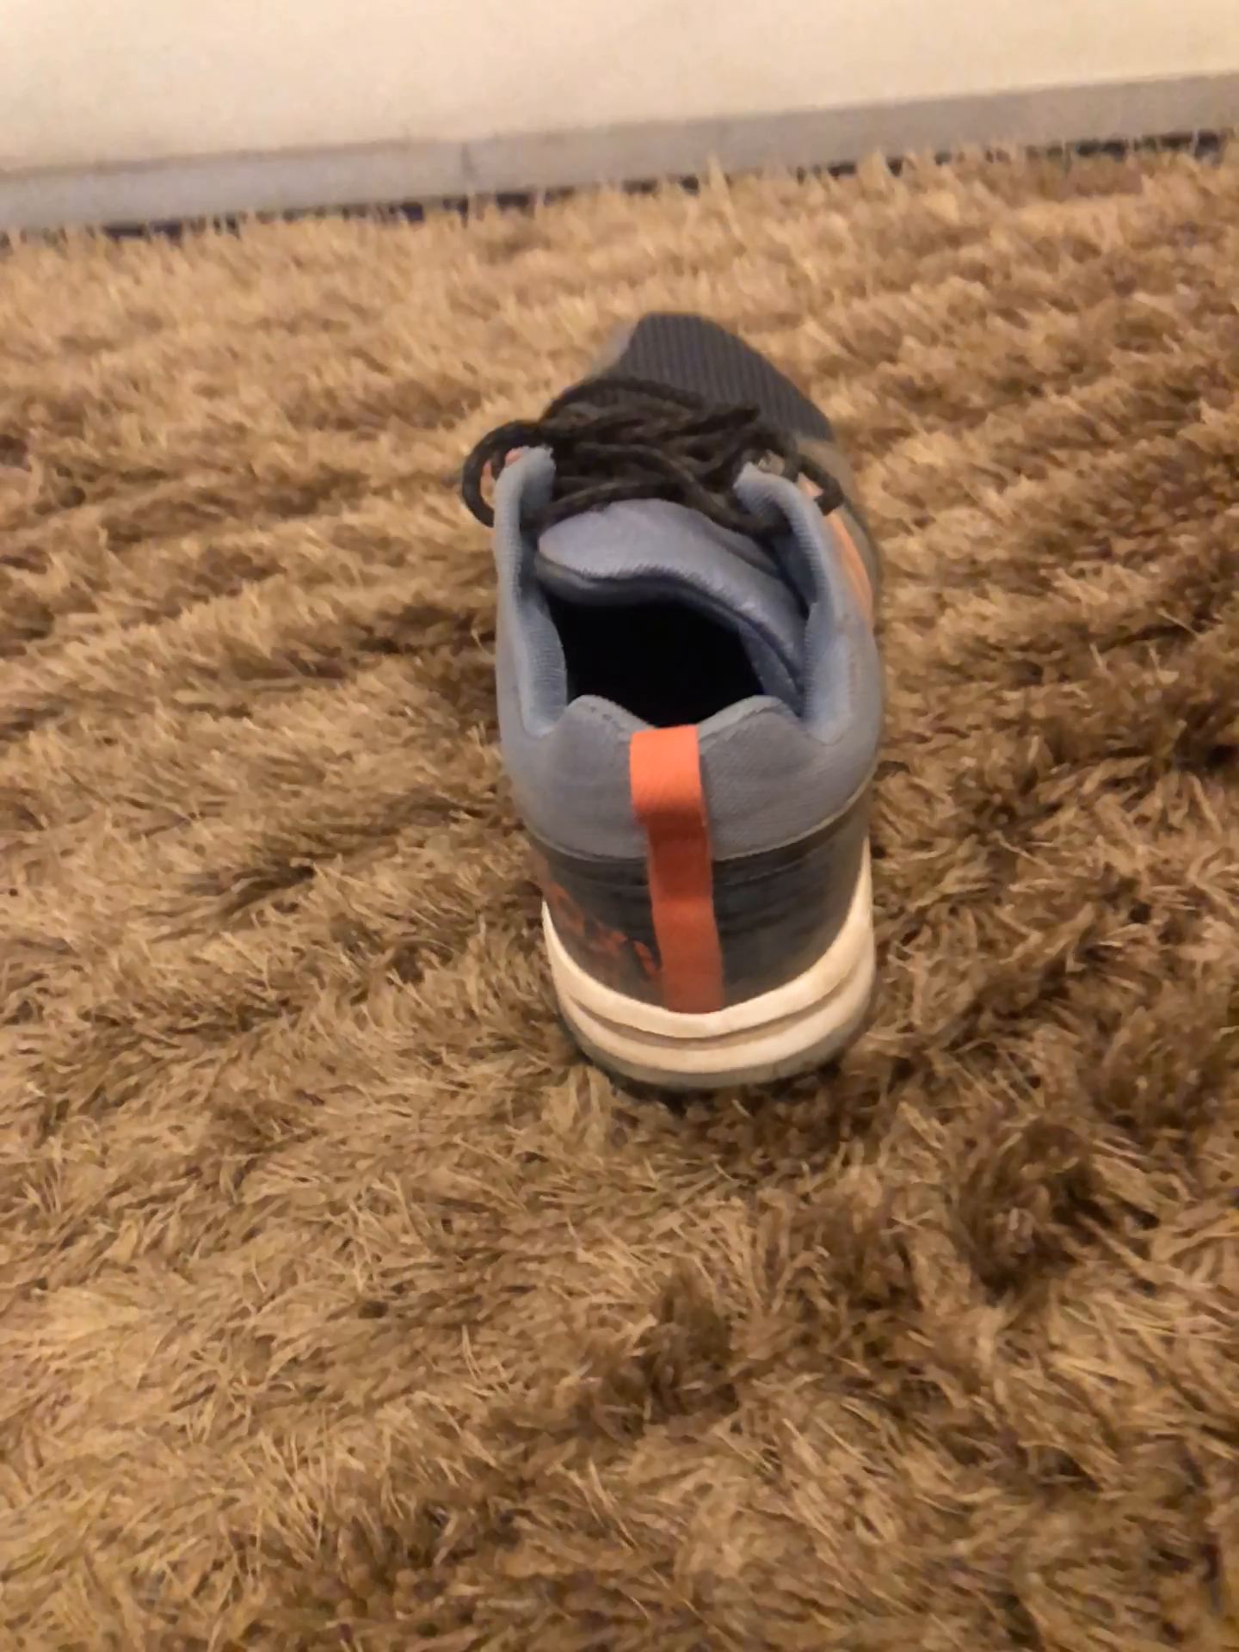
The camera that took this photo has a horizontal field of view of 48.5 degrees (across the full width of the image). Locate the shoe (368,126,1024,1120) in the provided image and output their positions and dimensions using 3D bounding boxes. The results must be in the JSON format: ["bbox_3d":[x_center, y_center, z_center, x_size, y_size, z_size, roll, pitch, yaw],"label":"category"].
[{"bbox_3d":[0.022,-0.072,0.369,0.113,0.109,0.276,-2,48,5],"label":"shoe"}]
